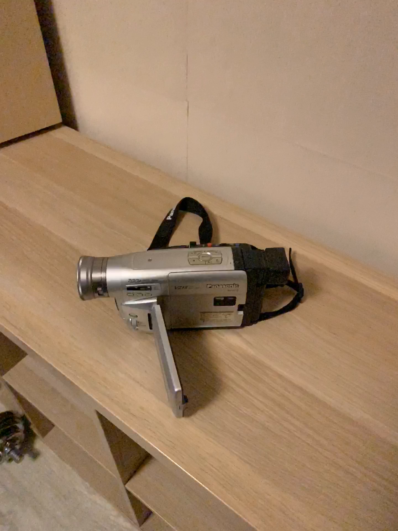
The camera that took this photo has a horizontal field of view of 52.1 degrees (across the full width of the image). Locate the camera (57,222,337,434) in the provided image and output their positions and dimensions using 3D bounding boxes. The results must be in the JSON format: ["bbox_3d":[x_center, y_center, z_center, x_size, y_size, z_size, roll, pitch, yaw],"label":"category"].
[{"bbox_3d":[-0.008,0.061,0.466,0.246,0.109,0.204,-2,46,-5],"label":"camera"}]
